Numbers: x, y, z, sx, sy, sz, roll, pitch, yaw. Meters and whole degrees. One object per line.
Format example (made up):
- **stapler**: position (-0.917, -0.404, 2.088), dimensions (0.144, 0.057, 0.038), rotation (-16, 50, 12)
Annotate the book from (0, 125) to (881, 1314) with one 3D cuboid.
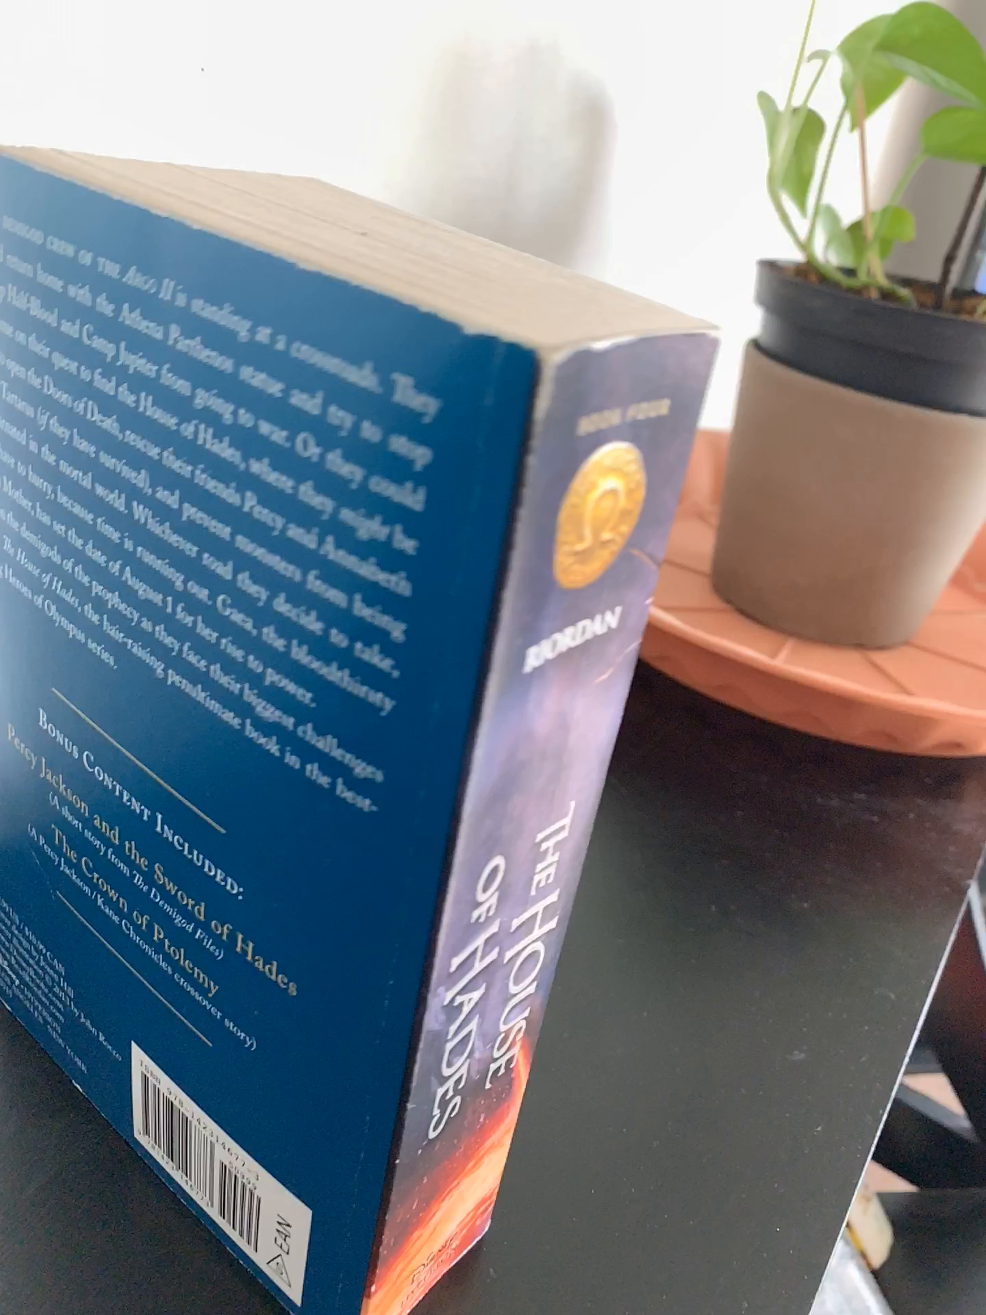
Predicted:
- **book**: position (-0.036, 0.009, 0.198), dimensions (0.145, 0.176, 0.078), rotation (27, 31, 31)
